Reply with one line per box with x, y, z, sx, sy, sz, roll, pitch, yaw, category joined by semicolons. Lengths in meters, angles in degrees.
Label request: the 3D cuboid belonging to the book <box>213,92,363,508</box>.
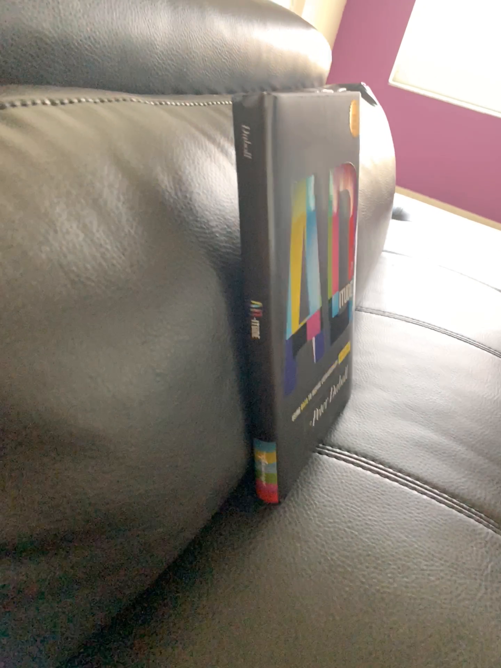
0.038;-0.032;0.347;0.025;0.235;0.162;8;26;26;book
